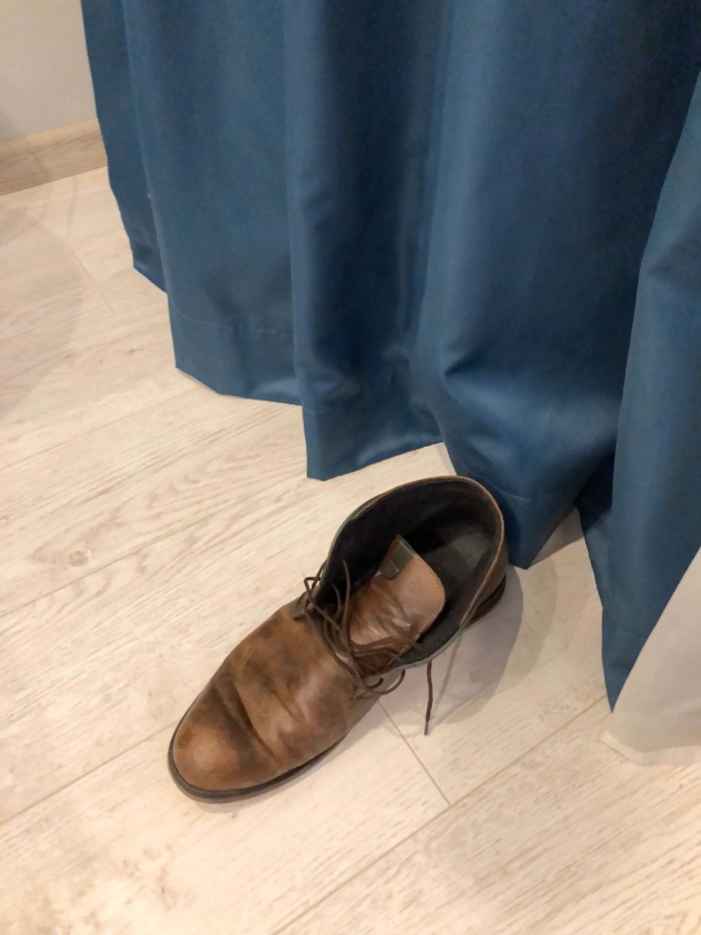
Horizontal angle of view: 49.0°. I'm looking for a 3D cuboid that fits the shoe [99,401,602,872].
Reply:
[{"bbox_3d":[0.010,0.113,0.567,0.321,0.159,0.130,-30,55,-24],"label":"shoe"}]
